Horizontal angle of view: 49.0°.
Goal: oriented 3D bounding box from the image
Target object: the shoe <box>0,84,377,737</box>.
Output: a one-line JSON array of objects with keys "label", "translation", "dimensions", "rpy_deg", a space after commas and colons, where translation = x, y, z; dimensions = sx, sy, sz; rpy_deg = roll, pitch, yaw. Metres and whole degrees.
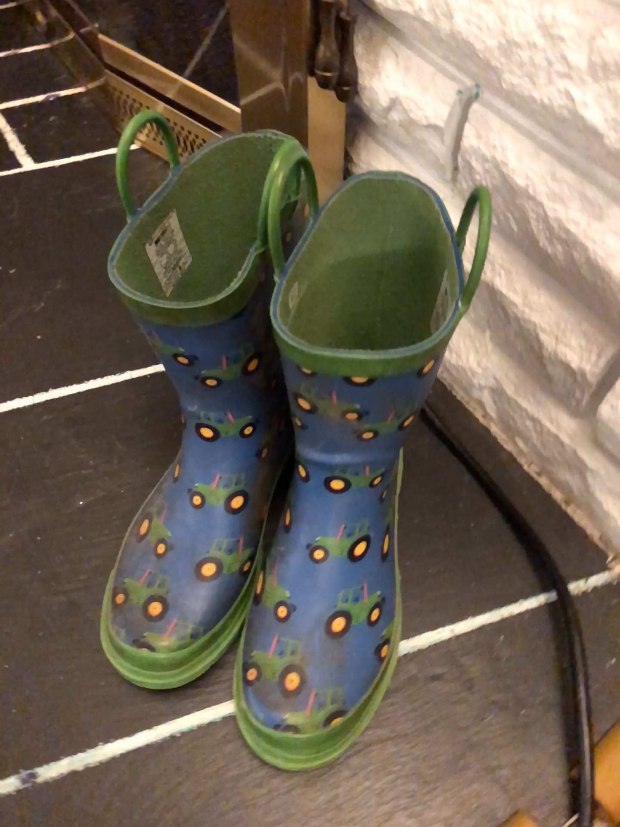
[{"label": "shoe", "translation": [-0.059, 0.011, 0.357], "dimensions": [0.100, 0.239, 0.231], "rpy_deg": [19, 57, 13]}]

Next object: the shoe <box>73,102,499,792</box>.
[{"label": "shoe", "translation": [0.012, 0.027, 0.333], "dimensions": [0.100, 0.229, 0.241], "rpy_deg": [9, 56, 7]}]
